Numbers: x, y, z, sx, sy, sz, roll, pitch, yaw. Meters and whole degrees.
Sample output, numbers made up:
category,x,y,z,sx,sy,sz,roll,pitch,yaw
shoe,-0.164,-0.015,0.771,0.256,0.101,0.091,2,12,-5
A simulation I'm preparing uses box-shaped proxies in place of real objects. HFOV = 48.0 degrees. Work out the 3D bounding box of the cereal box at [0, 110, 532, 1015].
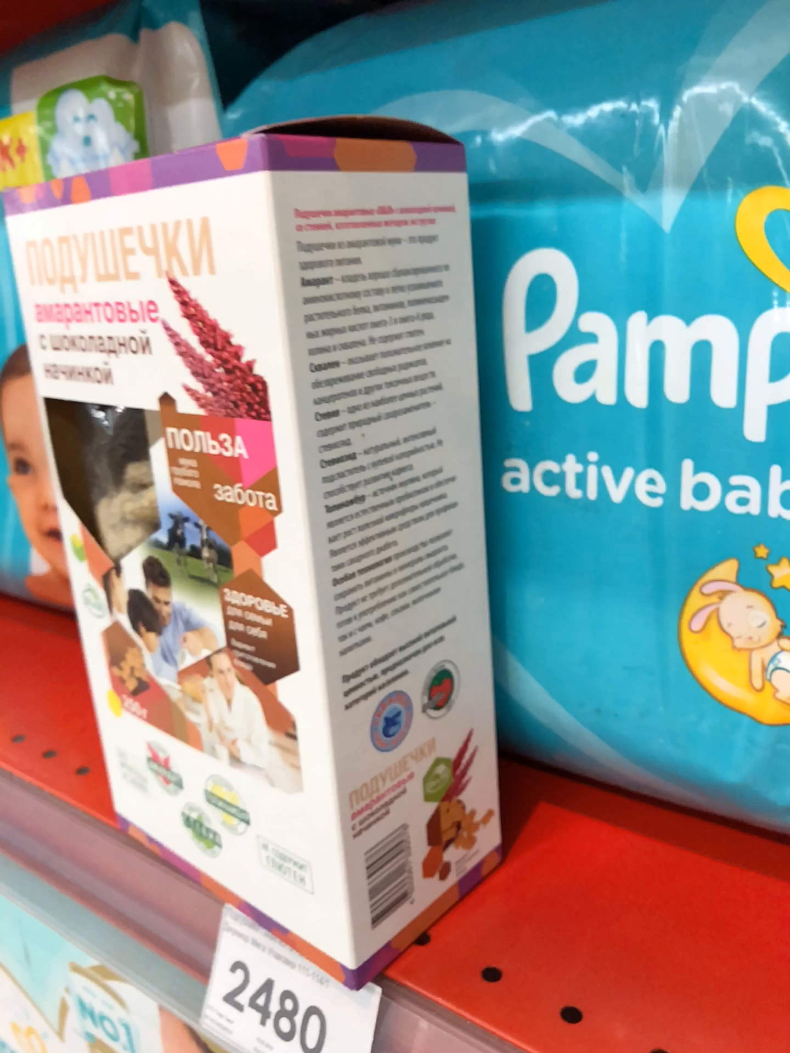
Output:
category,x,y,z,sx,sy,sz,roll,pitch,yaw
cereal box,-0.040,0.004,0.273,0.140,0.219,0.070,11,23,42
